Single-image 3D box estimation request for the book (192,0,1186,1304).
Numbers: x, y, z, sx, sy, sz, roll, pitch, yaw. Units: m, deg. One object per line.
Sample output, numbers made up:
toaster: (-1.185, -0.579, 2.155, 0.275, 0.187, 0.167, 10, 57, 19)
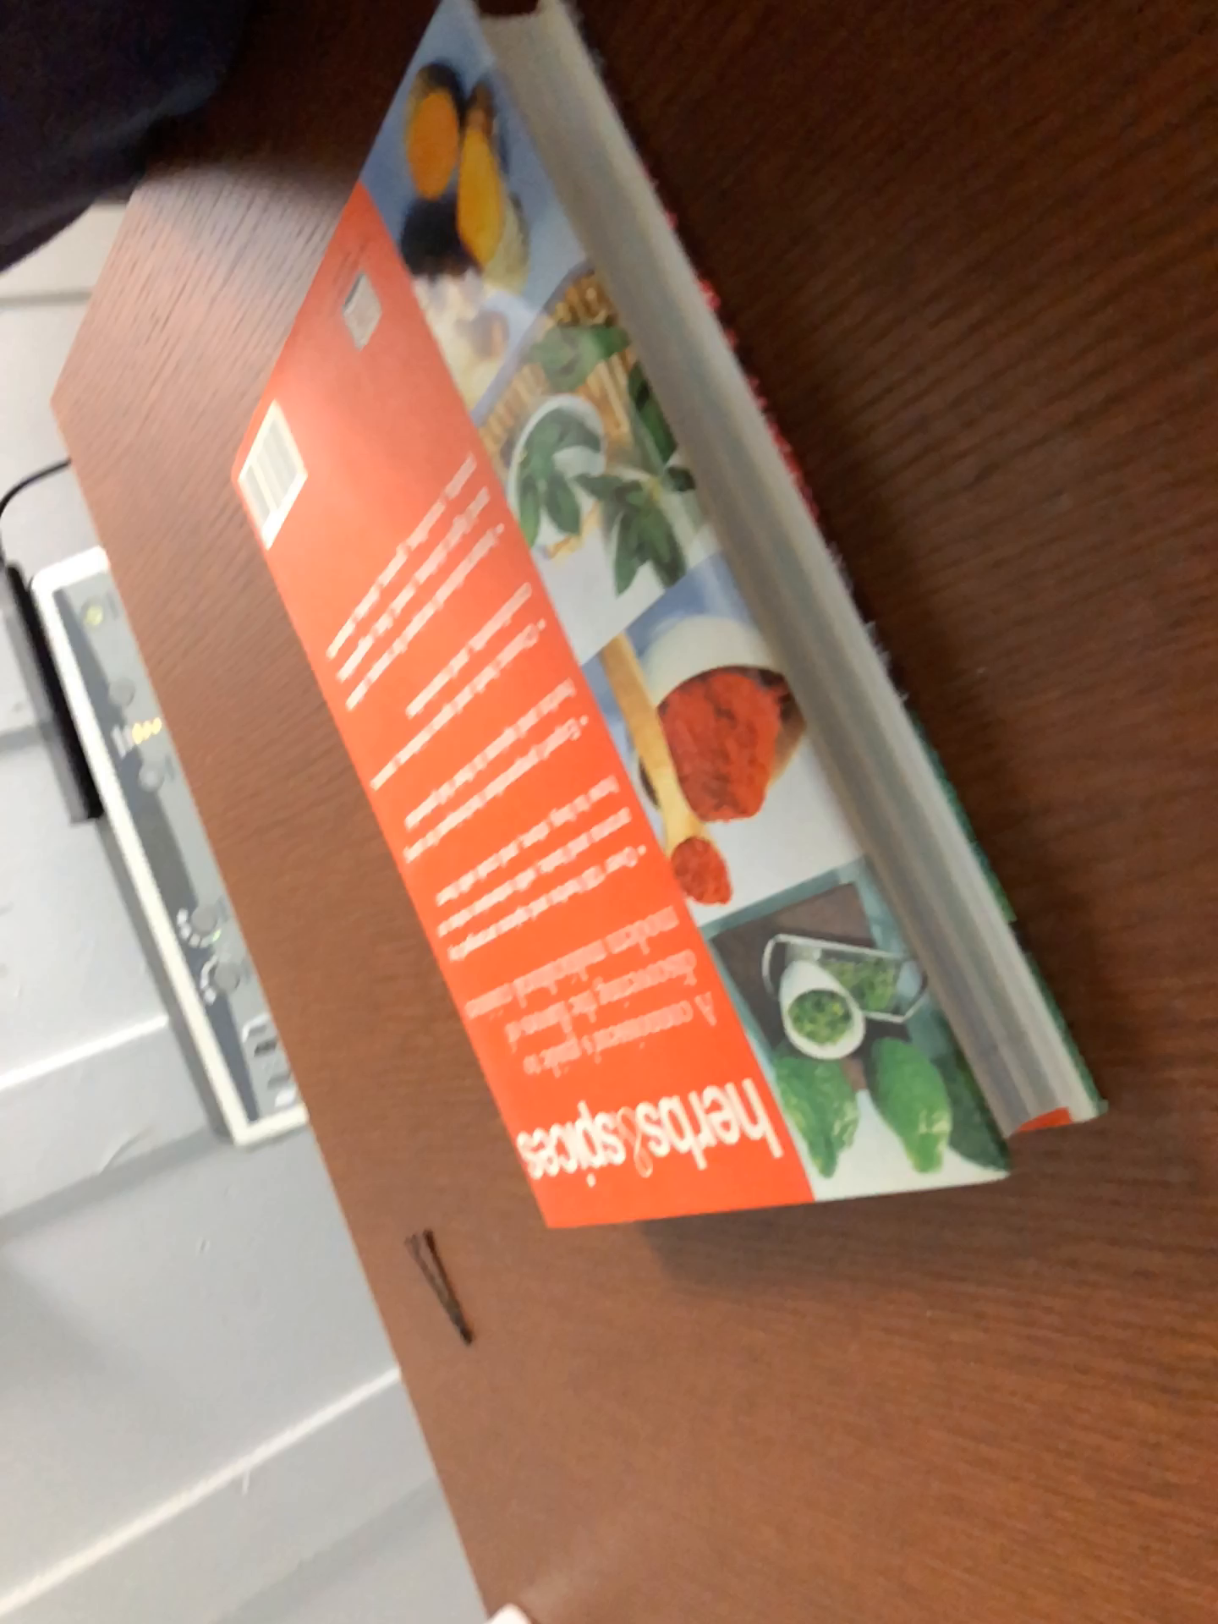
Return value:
book: (-0.013, -0.018, 0.334, 0.211, 0.040, 0.270, -31, 81, 56)
